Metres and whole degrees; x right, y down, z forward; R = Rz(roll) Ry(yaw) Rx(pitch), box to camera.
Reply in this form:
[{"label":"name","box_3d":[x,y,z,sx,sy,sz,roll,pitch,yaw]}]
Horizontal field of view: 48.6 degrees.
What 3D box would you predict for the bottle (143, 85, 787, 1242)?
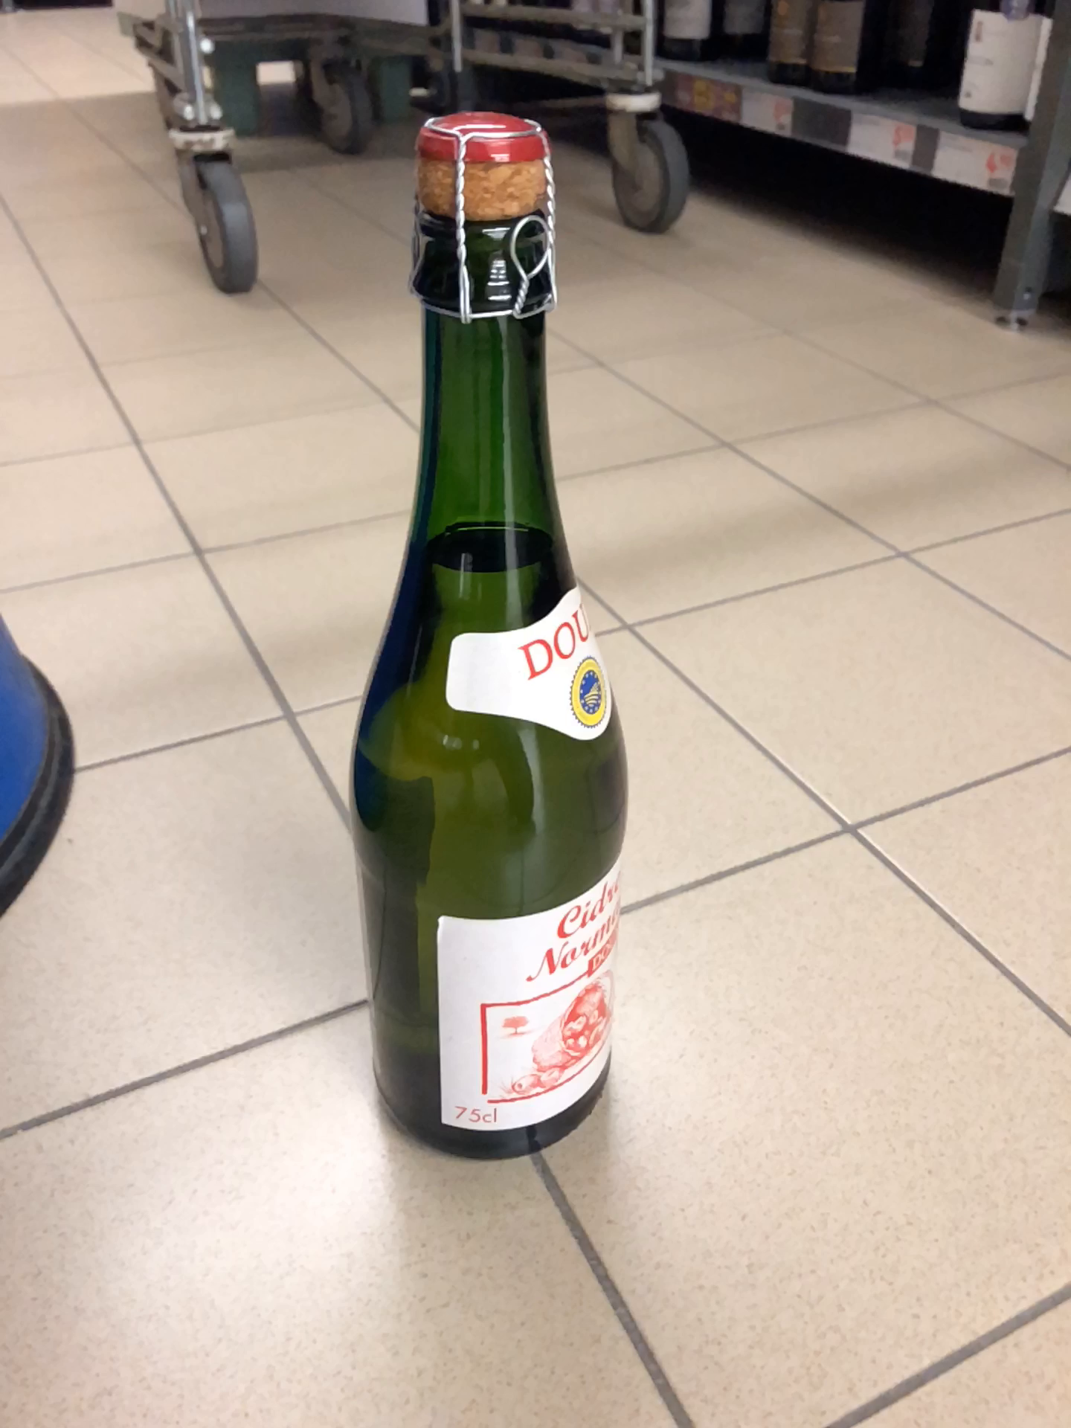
[{"label":"bottle","box_3d":[-0.012,-0.002,0.325,0.090,0.288,0.101,22,40,29]}]
